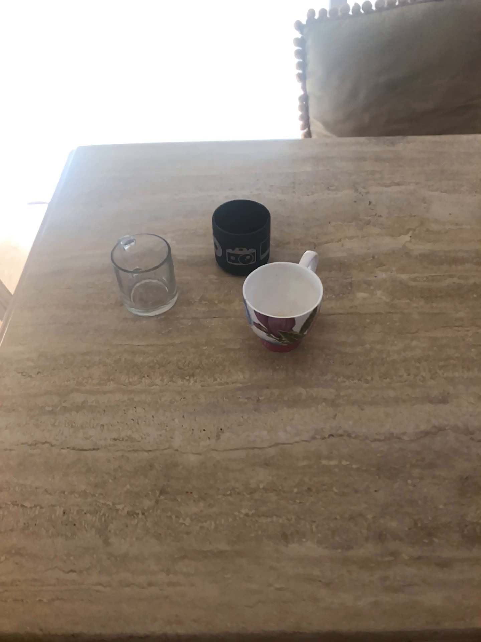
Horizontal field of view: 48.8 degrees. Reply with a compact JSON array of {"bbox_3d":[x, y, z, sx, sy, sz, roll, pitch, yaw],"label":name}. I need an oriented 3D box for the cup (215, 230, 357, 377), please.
[{"bbox_3d":[0.064,-0.029,0.744,0.120,0.089,0.161,29,55,25],"label":"cup"}]

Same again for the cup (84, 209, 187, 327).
[{"bbox_3d":[-0.160,-0.084,0.810,0.090,0.089,0.141,-27,52,-21],"label":"cup"}]

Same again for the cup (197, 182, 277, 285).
[{"bbox_3d":[-0.002,-0.145,0.870,0.100,0.089,0.141,7,48,9],"label":"cup"}]
